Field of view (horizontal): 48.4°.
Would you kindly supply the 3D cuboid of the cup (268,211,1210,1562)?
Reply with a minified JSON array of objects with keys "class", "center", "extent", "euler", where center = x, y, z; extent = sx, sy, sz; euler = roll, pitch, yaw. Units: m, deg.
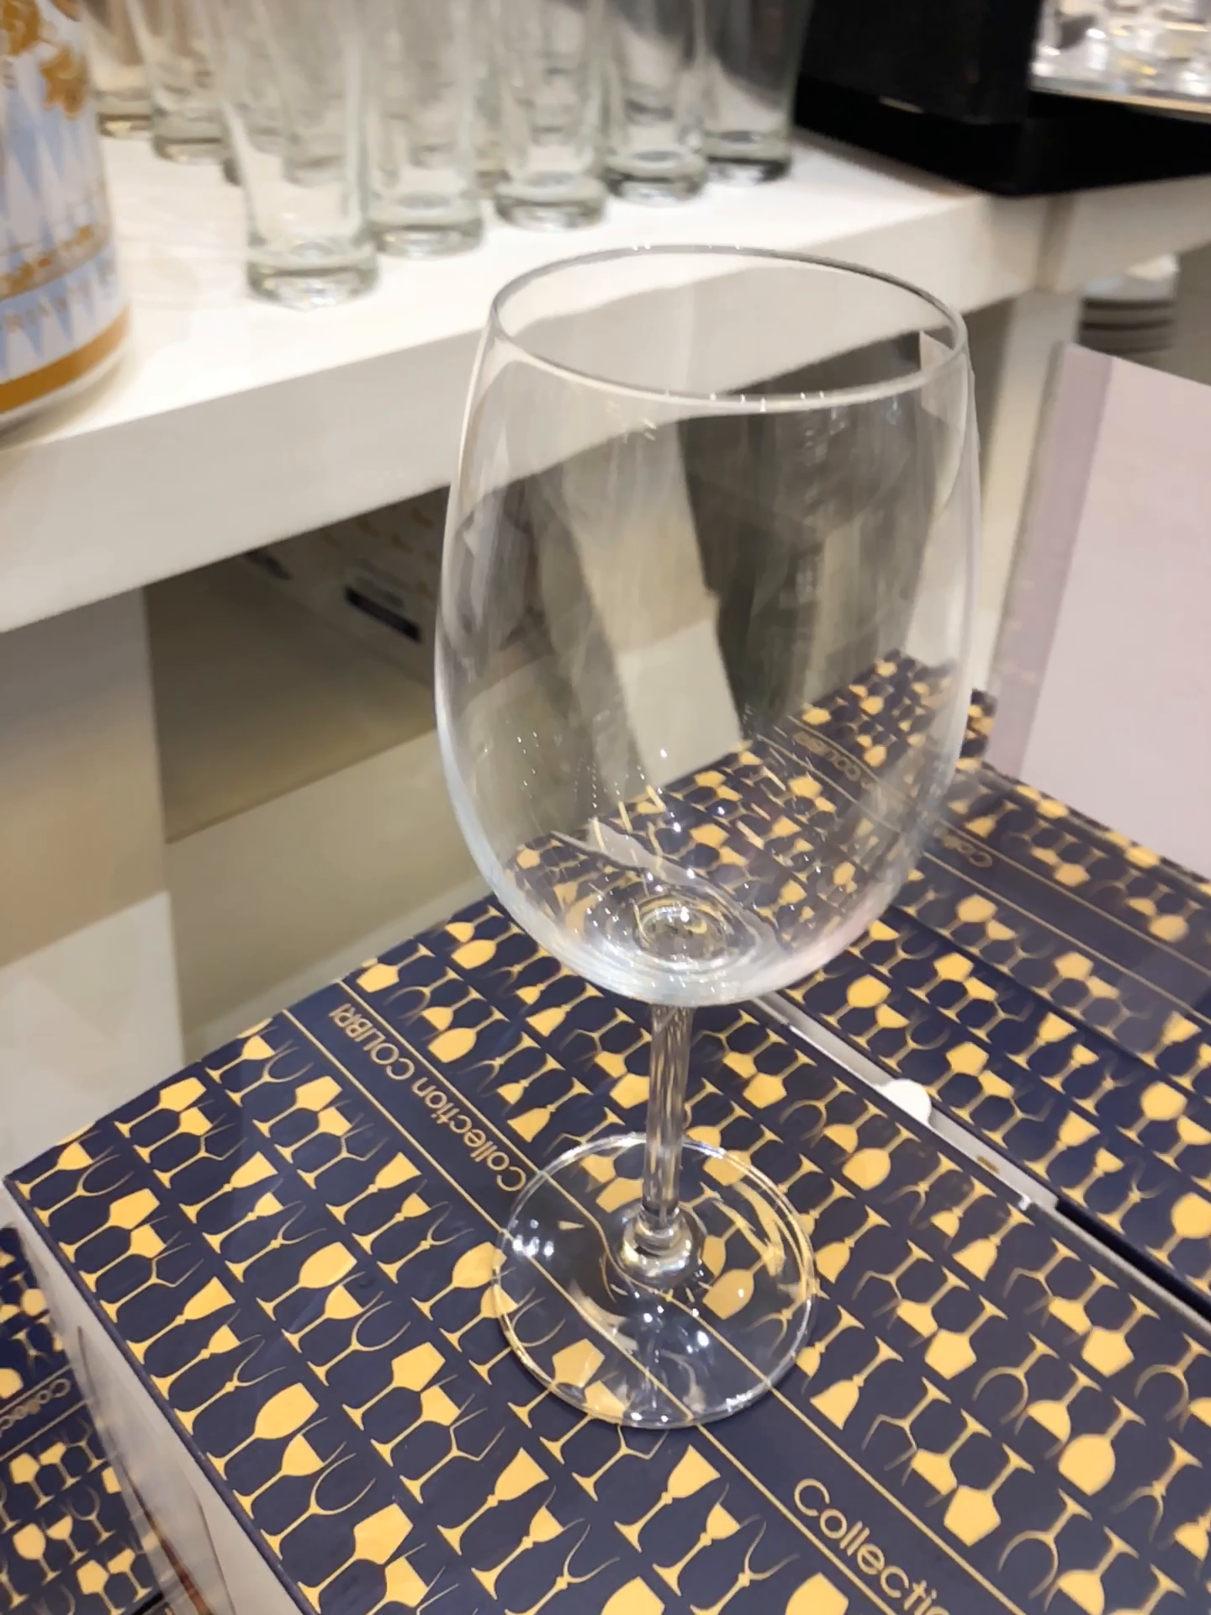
[{"class":"cup","center":[0.015,0.020,0.241],"extent":[0.090,0.208,0.090],"euler":[1,37,-1]}]
